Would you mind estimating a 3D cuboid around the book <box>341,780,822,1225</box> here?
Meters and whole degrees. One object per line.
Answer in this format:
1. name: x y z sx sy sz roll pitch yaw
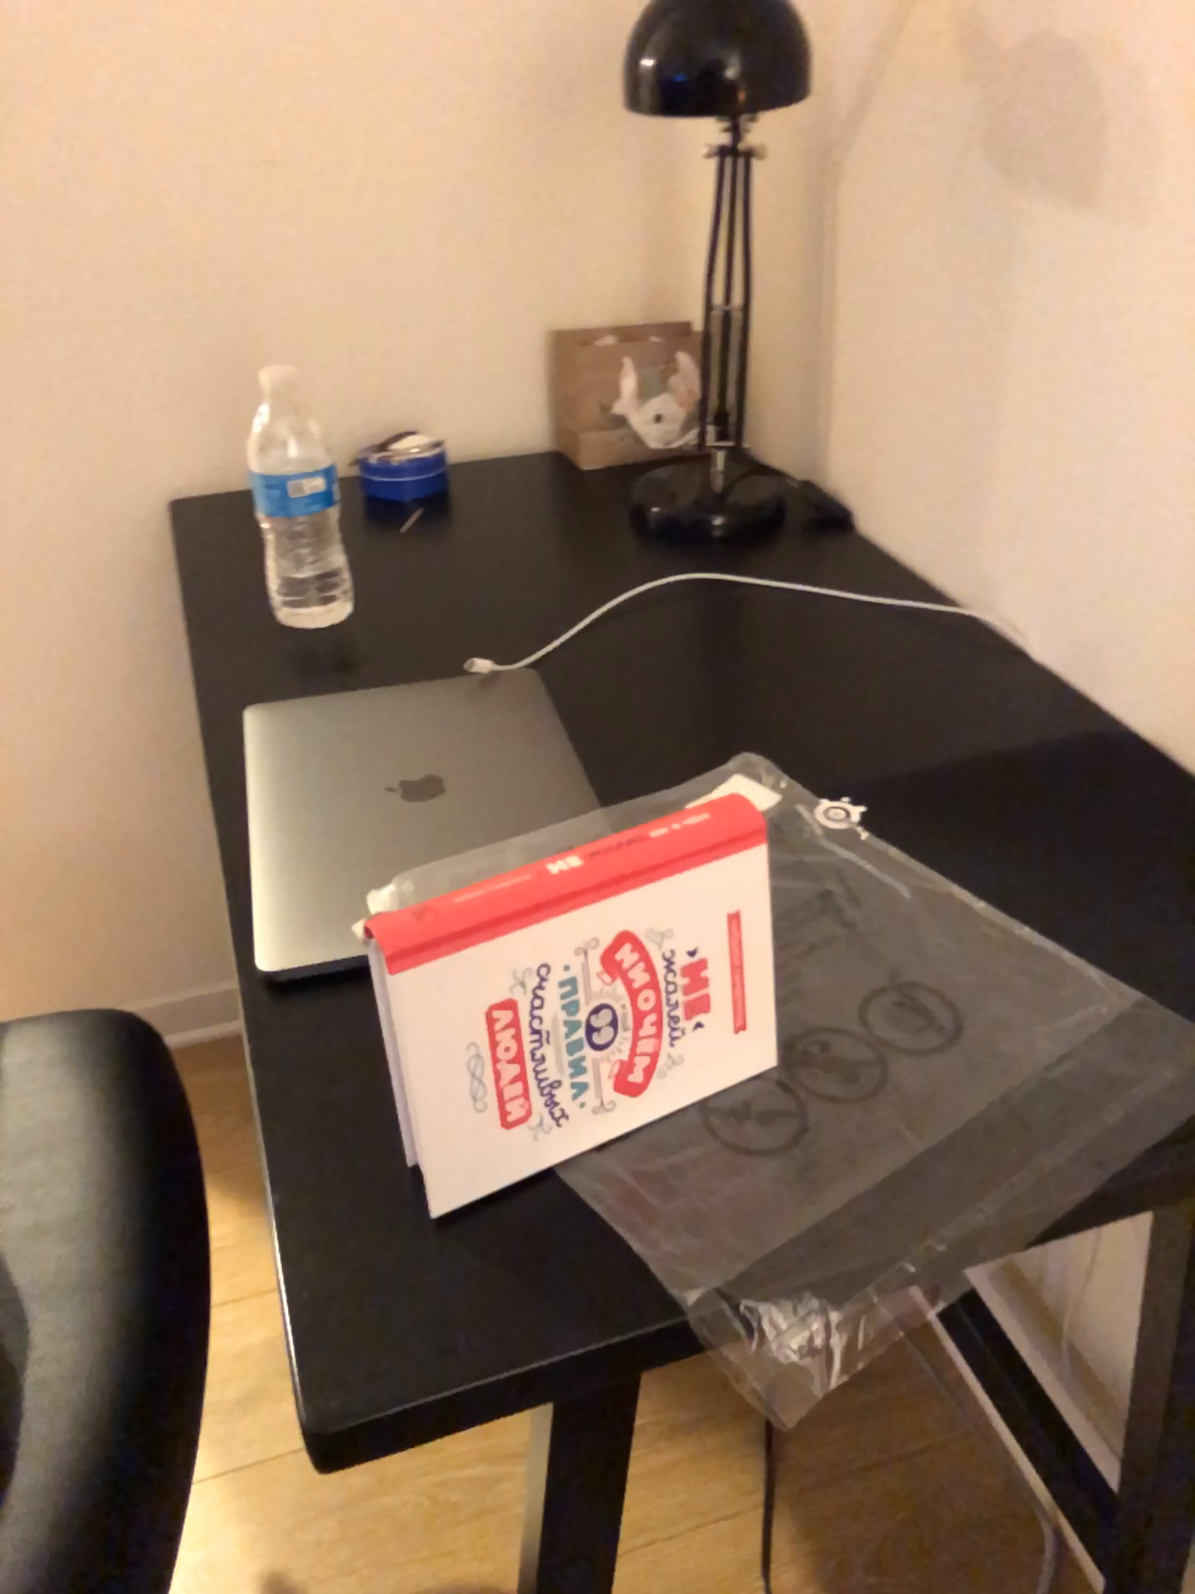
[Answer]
1. book: -0.001 0.087 0.581 0.200 0.129 0.050 -19 37 -23
